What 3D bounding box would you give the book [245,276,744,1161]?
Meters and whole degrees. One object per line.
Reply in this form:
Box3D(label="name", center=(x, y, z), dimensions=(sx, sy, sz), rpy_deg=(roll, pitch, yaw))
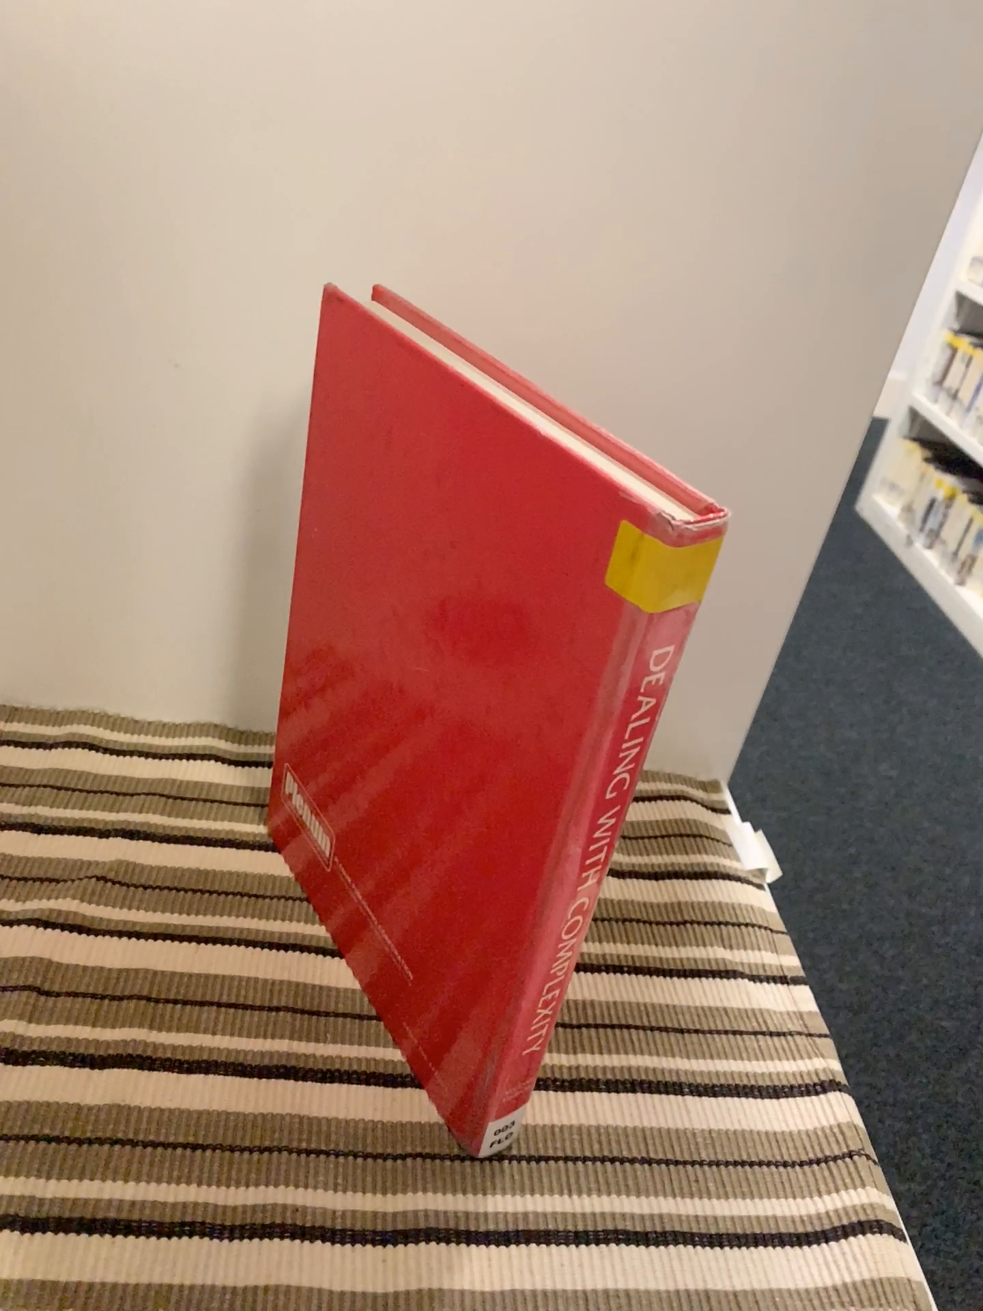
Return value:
Box3D(label="book", center=(-0.029, 0.019, 0.371), dimensions=(0.030, 0.250, 0.201), rpy_deg=(-11, 38, -34))
